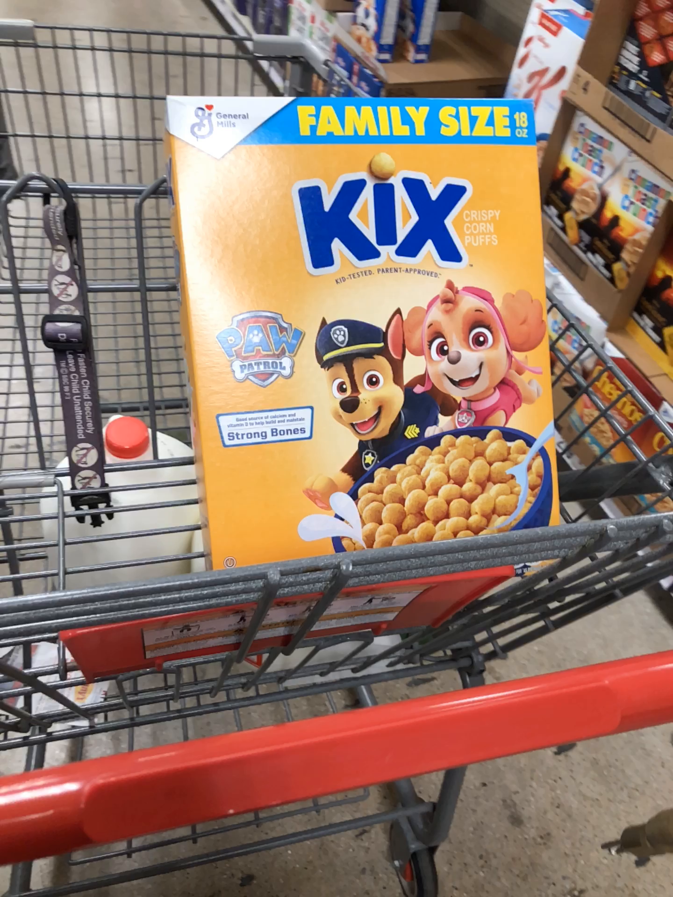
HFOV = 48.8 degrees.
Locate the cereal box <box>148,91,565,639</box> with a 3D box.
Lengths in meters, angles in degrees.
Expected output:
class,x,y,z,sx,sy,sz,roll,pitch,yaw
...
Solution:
class,x,y,z,sx,sy,sz,roll,pitch,yaw
cereal box,0.015,-0.059,0.517,0.250,0.330,0.090,-5,6,-11
